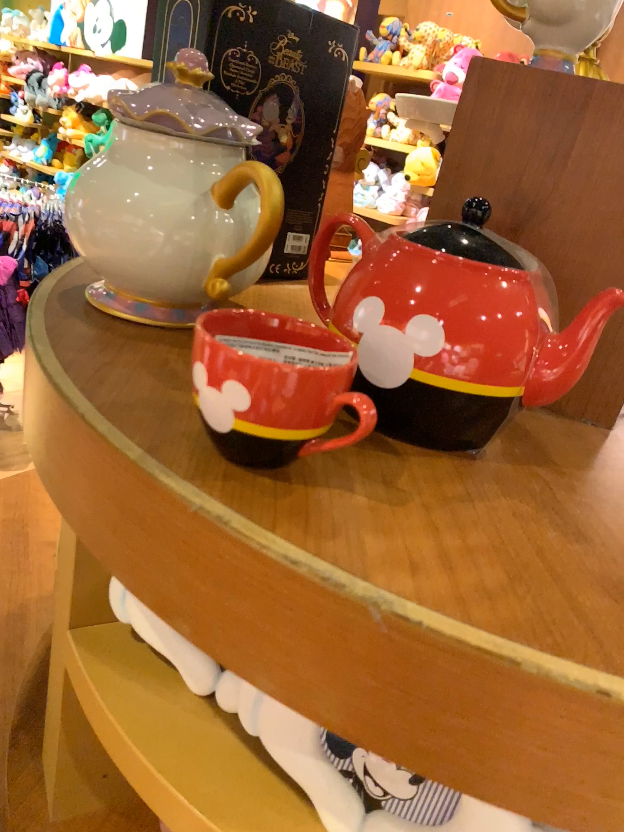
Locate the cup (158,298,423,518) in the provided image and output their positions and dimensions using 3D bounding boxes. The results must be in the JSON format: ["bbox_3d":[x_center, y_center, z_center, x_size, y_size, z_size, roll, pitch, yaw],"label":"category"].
[{"bbox_3d":[-0.014,-0.012,0.326,0.100,0.065,0.077,30,29,35],"label":"cup"}]
